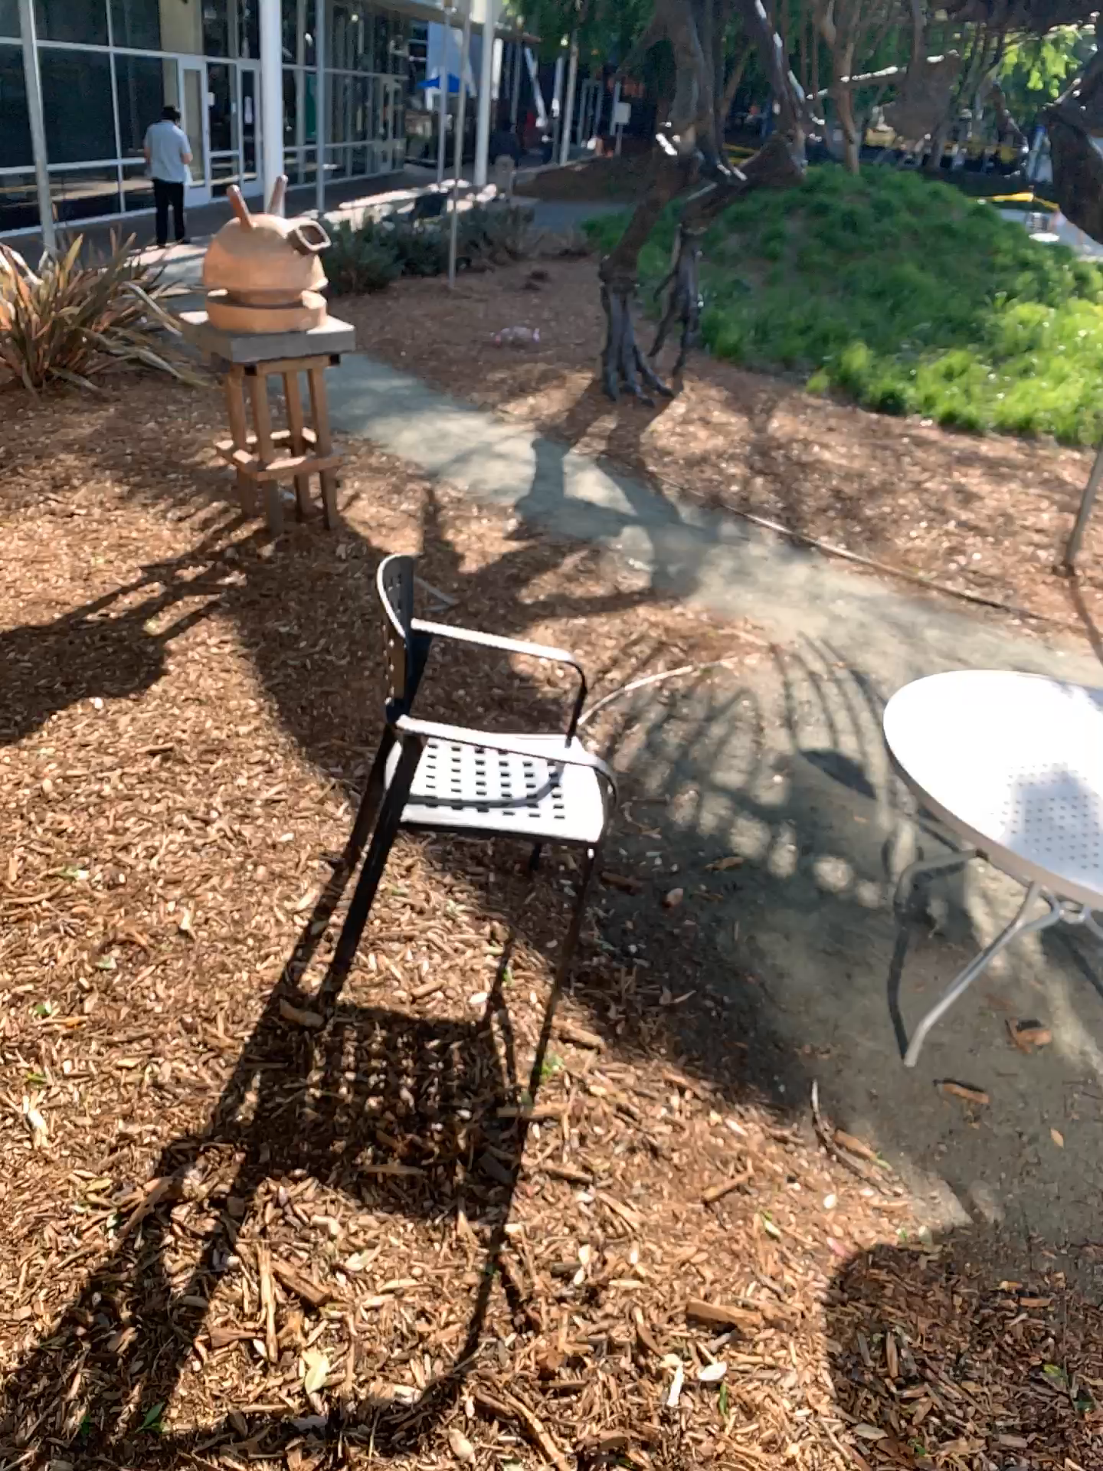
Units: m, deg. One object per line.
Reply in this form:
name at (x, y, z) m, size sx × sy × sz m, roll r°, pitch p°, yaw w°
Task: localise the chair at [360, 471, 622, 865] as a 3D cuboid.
chair at (-0.155, -0.163, 2.633) m, size 0.500 × 0.716 × 0.523 m, roll 4°, pitch 29°, yaw -5°
